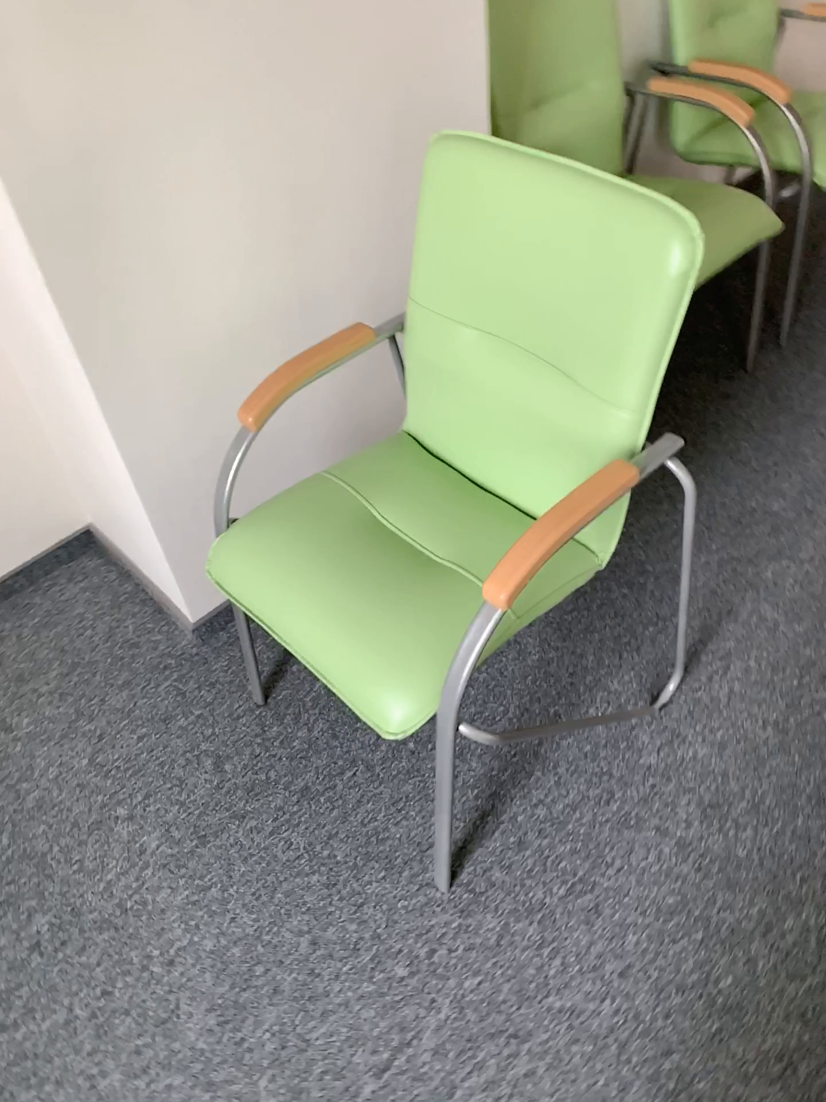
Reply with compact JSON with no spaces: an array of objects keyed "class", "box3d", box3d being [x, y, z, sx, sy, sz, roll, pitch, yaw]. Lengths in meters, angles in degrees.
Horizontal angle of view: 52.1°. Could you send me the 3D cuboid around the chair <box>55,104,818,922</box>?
[{"class":"chair","box3d":[0.046,-0.053,1.284,0.621,0.876,0.622,-36,52,-25]}]
